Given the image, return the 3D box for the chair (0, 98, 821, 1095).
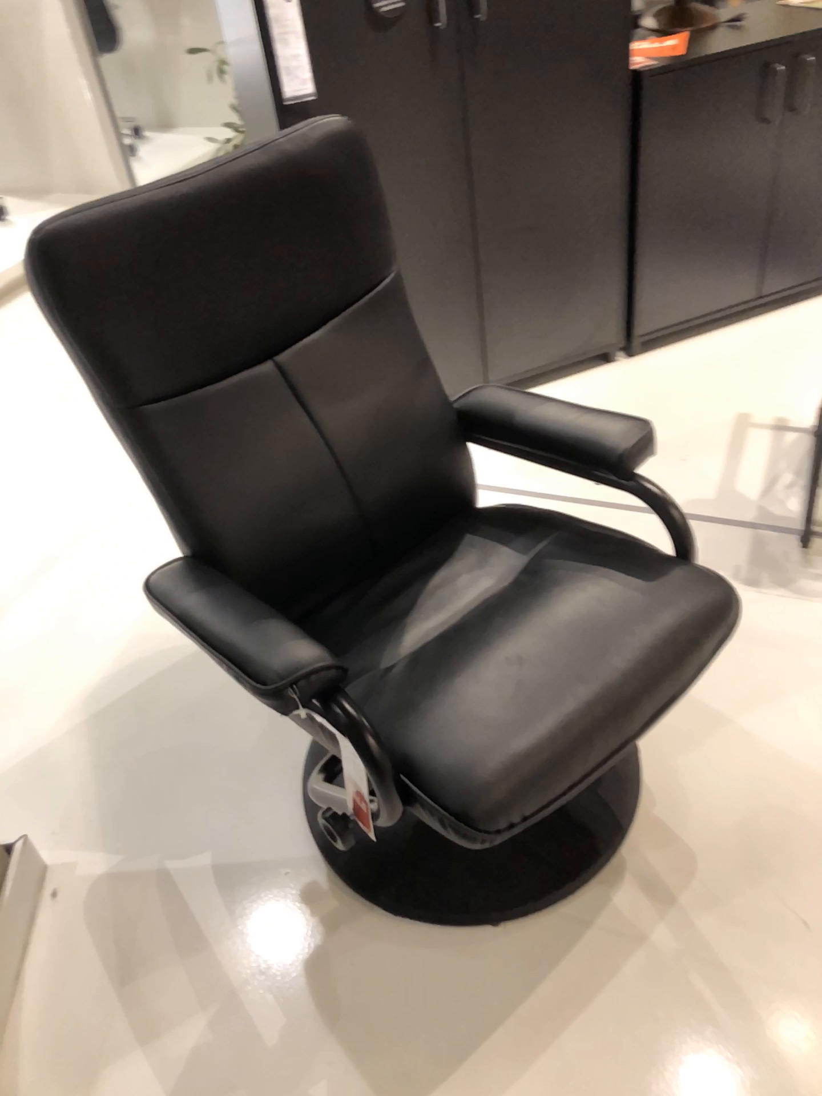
[{"bbox_3d":[-0.002,0.027,1.264,0.692,0.992,0.734,-33,44,-28],"label":"chair"}]
